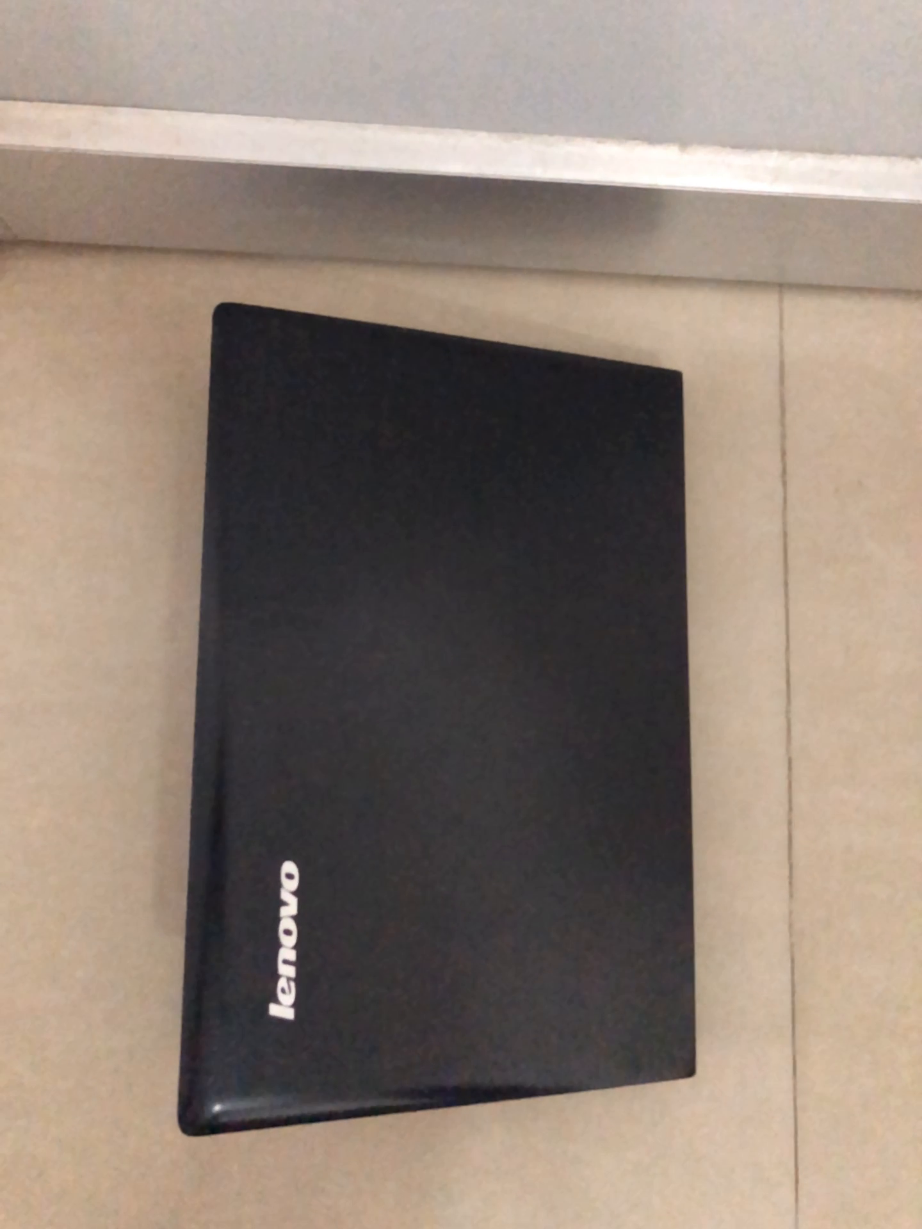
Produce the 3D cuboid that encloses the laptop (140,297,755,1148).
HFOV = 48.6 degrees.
[{"bbox_3d":[-0.004,0.041,0.500,0.257,0.098,0.367,0,82,-4],"label":"laptop"}]
